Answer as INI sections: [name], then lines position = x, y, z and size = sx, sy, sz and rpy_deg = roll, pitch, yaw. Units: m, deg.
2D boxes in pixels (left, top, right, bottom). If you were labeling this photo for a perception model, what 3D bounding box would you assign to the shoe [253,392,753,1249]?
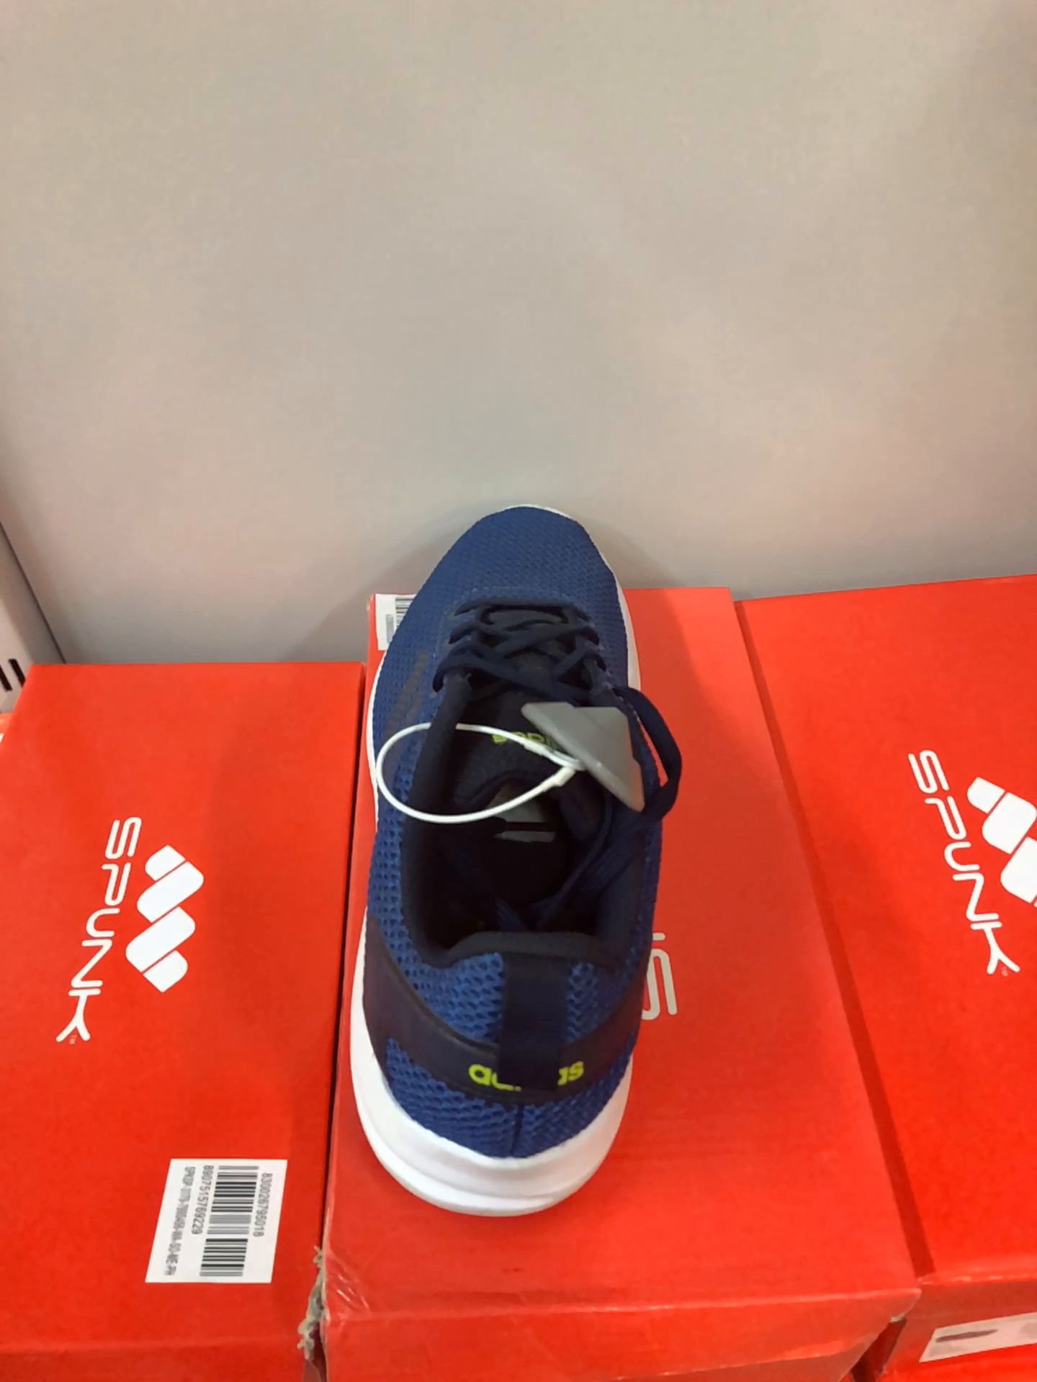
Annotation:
[shoe]
position = -0.007, 0.015, 0.416
size = 0.113, 0.114, 0.317
rpy_deg = 0, 40, -1
